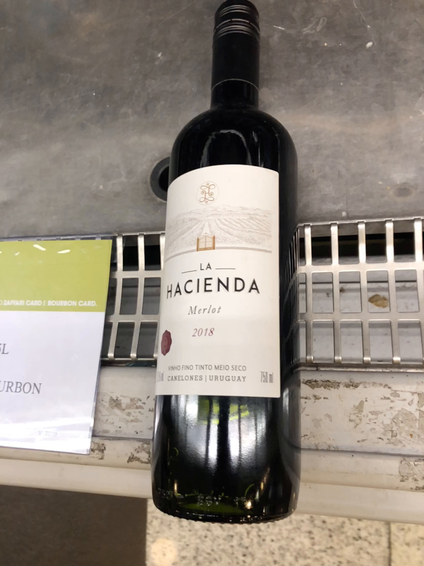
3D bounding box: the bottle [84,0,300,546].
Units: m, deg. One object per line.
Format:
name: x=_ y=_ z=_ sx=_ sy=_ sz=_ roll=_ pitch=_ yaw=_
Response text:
bottle: x=0.001 y=-0.041 z=0.251 sx=0.080 sy=0.070 sz=0.300 roll=-2 pitch=75 yaw=15
